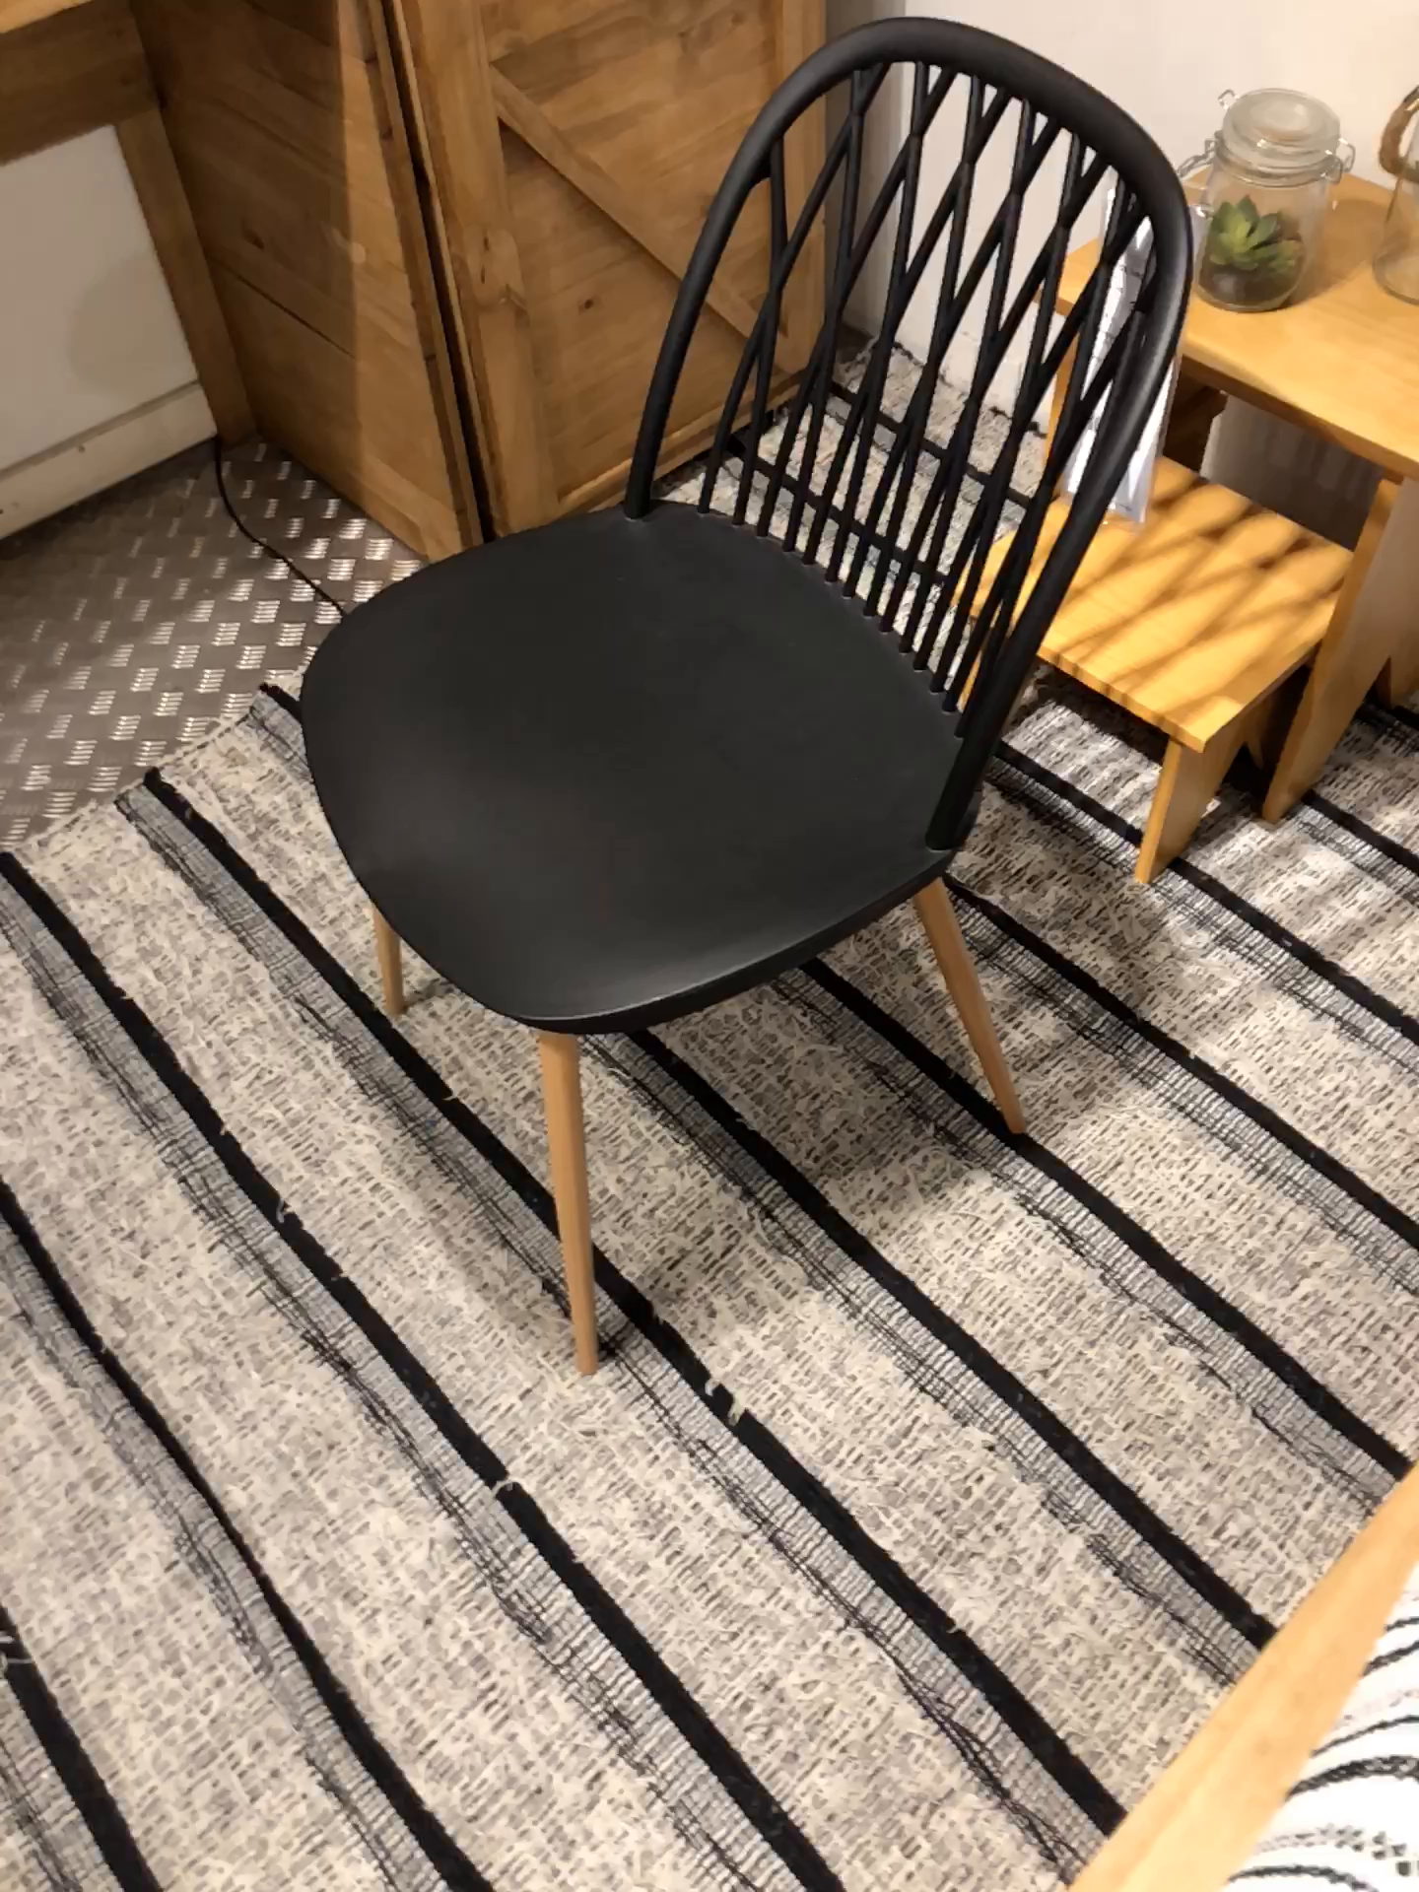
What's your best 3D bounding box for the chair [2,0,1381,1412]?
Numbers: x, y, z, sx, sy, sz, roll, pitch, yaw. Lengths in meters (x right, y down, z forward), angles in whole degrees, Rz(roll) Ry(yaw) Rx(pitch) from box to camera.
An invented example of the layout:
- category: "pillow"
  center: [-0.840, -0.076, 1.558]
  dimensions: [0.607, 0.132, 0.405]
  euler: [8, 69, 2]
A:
- category: "chair"
  center: [-0.016, -0.150, 1.097]
  dimensions: [0.541, 0.775, 0.472]
  euler: [-26, 55, -16]
